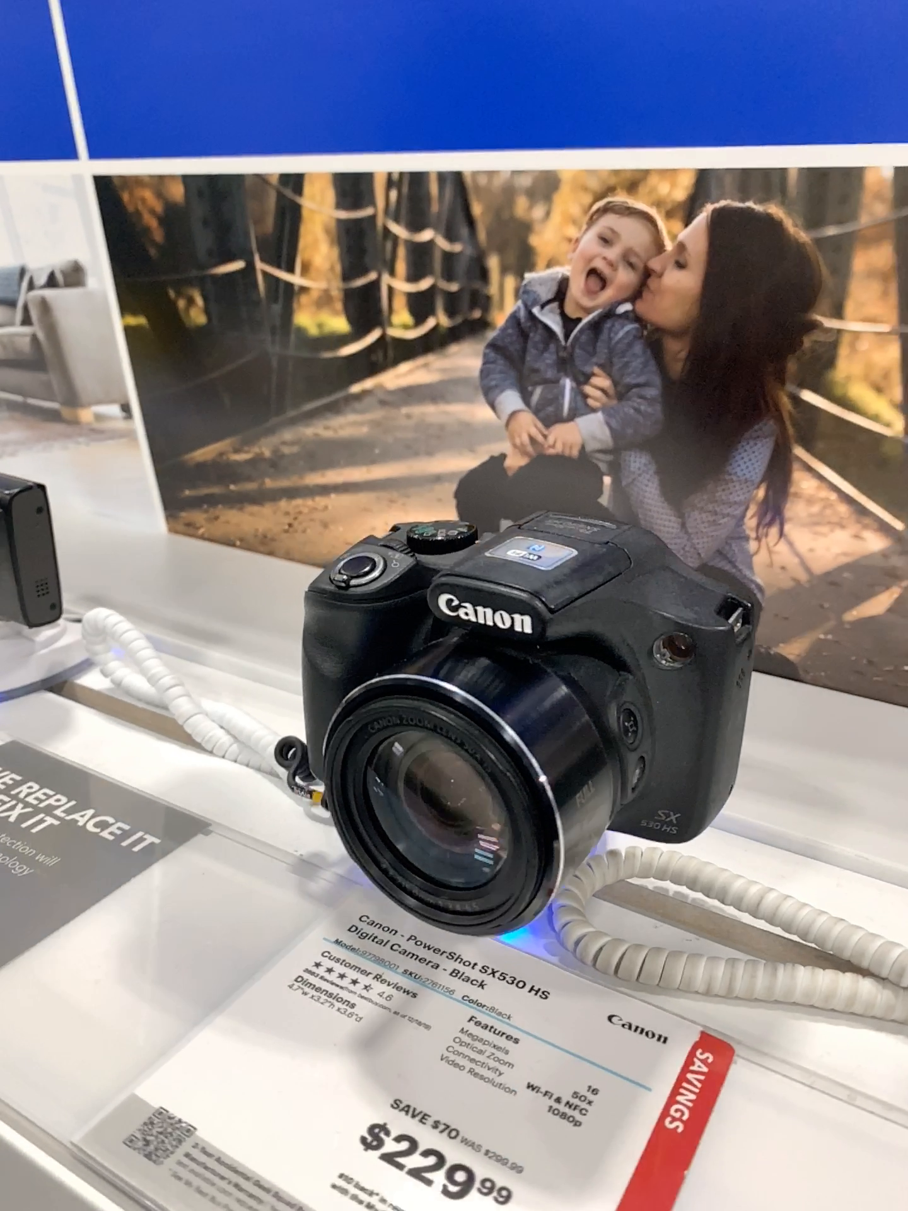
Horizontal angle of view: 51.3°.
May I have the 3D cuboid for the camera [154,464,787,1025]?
[{"bbox_3d":[0.005,0.020,0.239,0.124,0.080,0.090,14,23,26],"label":"camera"}]
